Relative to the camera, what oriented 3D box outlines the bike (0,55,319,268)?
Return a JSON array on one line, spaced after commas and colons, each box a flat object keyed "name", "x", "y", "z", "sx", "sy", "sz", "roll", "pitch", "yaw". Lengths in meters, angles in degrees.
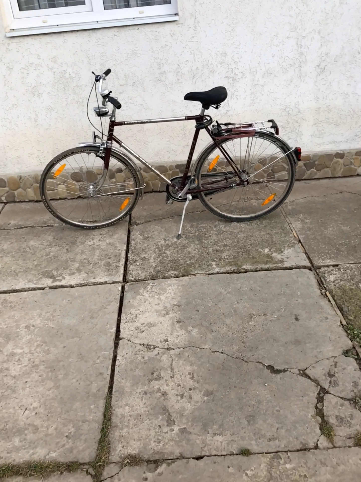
[{"name": "bike", "x": -0.101, "y": -0.506, "z": 2.541, "sx": 1.709, "sy": 1.054, "sz": 0.600, "roll": -5, "pitch": 31, "yaw": 1}]
